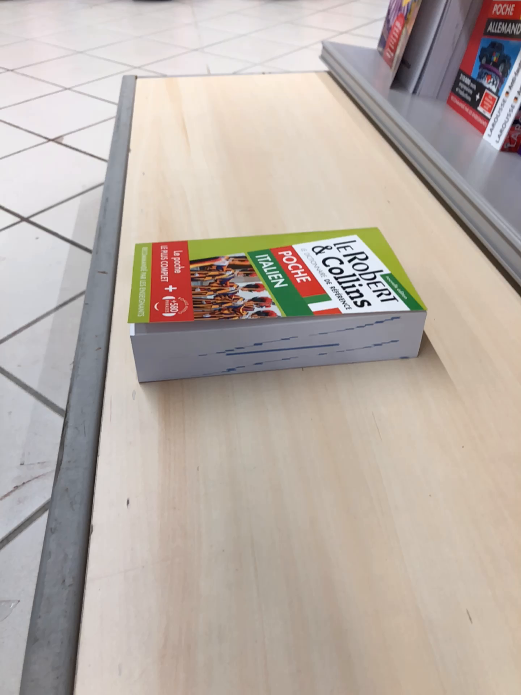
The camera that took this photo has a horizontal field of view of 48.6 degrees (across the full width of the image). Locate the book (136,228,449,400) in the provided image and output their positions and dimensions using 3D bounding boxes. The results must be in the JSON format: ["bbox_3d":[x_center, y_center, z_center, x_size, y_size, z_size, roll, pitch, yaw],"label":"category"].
[{"bbox_3d":[0.013,-0.027,0.371,0.175,0.040,0.111,-5,41,-7],"label":"book"}]
